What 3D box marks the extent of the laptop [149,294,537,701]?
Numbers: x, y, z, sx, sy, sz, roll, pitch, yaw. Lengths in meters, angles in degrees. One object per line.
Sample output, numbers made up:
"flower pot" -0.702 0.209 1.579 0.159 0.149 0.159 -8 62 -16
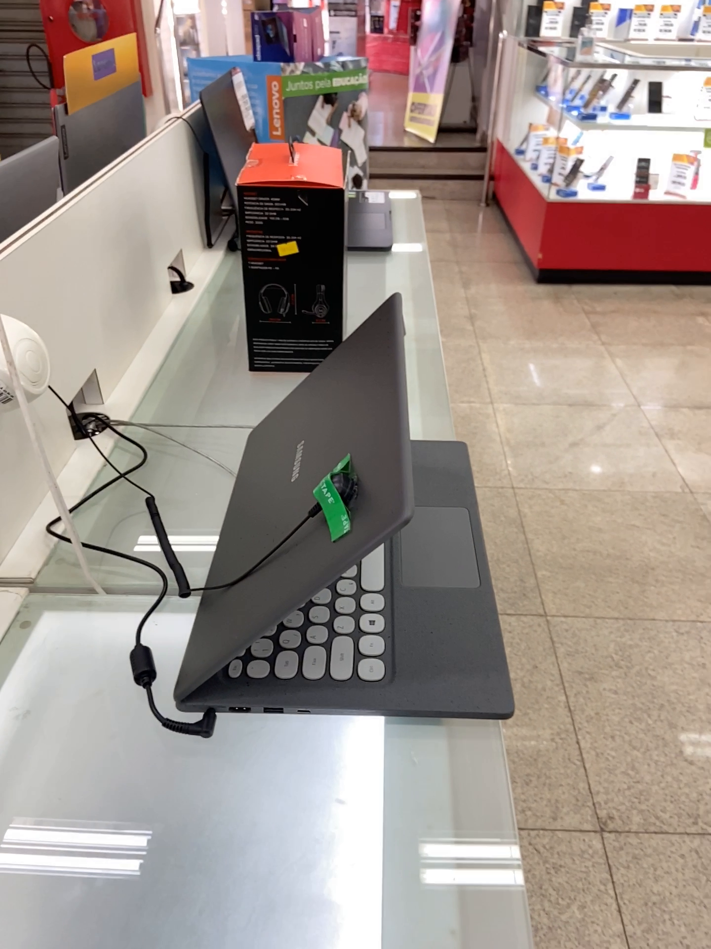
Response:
"laptop" -0.003 -0.007 0.561 0.207 0.153 0.313 1 34 1
